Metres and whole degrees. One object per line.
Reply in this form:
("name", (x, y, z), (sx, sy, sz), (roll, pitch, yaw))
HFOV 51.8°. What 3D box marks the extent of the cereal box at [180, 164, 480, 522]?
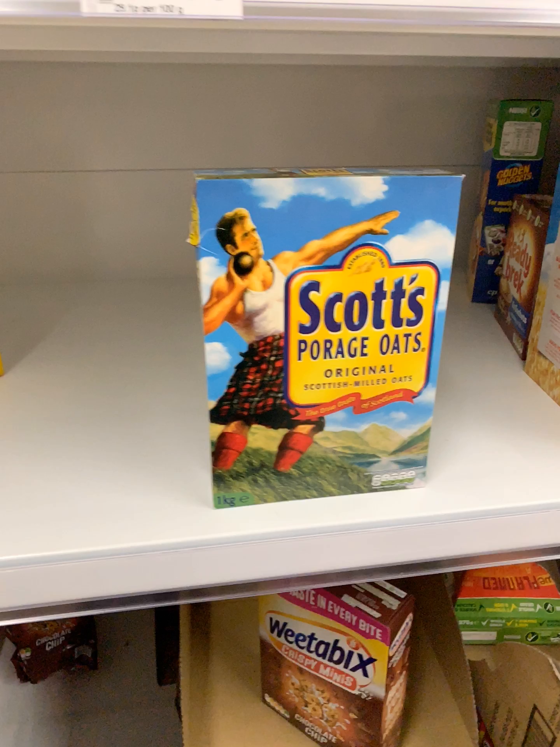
("cereal box", (0.031, -0.022, 0.465), (0.200, 0.268, 0.071), (-4, 25, -10))
